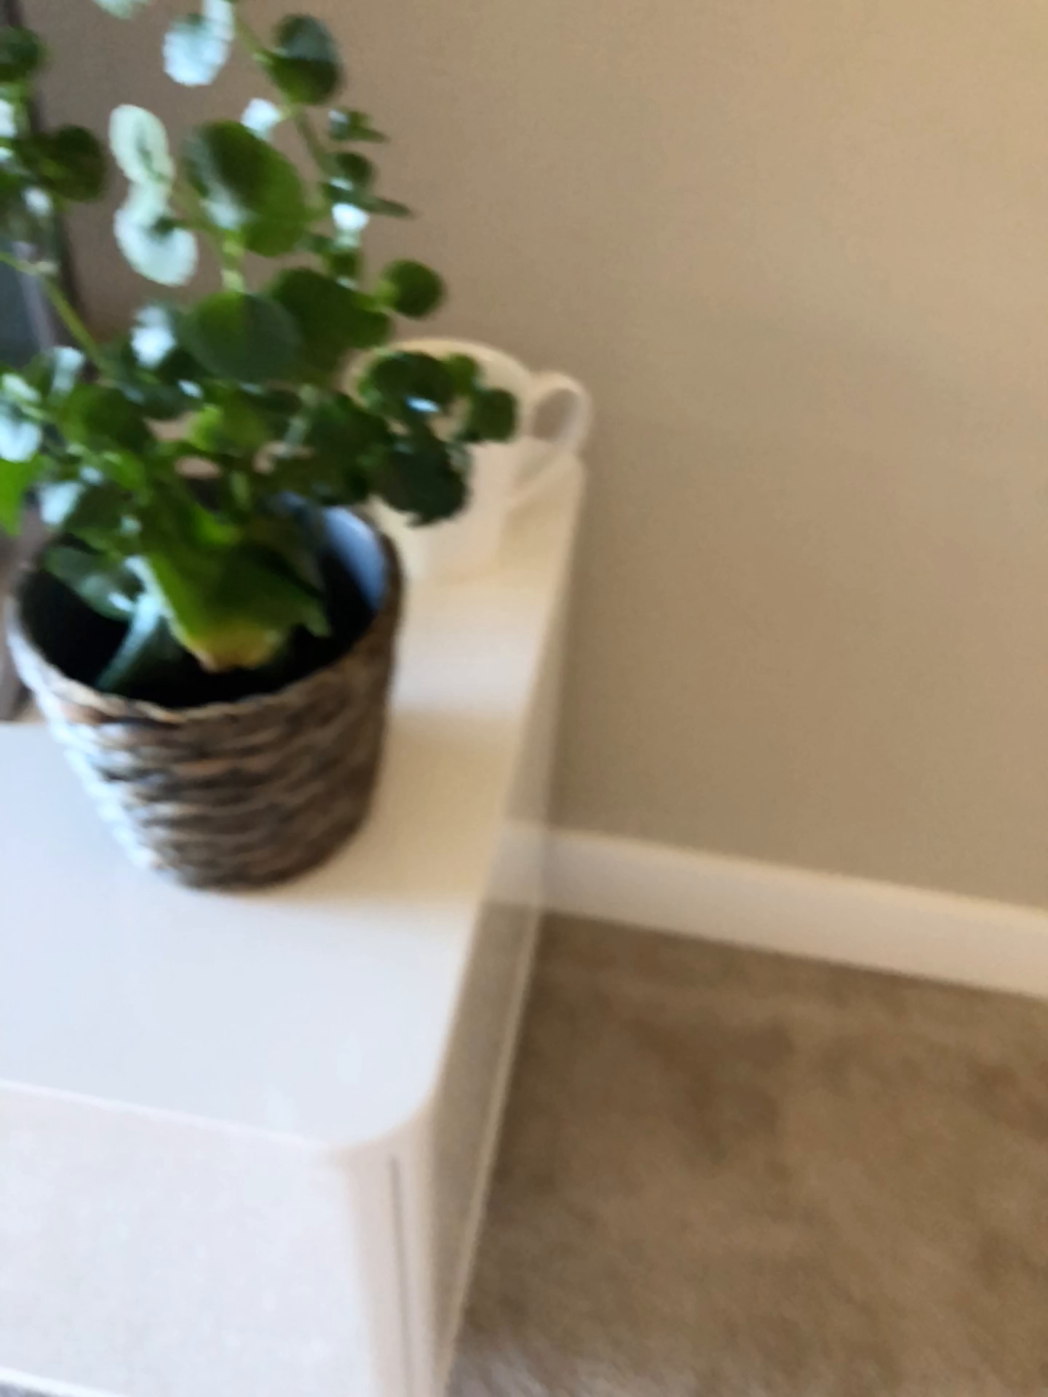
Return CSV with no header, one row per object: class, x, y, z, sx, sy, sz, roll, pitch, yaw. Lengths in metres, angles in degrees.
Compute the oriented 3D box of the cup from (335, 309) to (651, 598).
cup,-0.018,-0.130,0.620,0.130,0.090,0.090,-18,48,-21
